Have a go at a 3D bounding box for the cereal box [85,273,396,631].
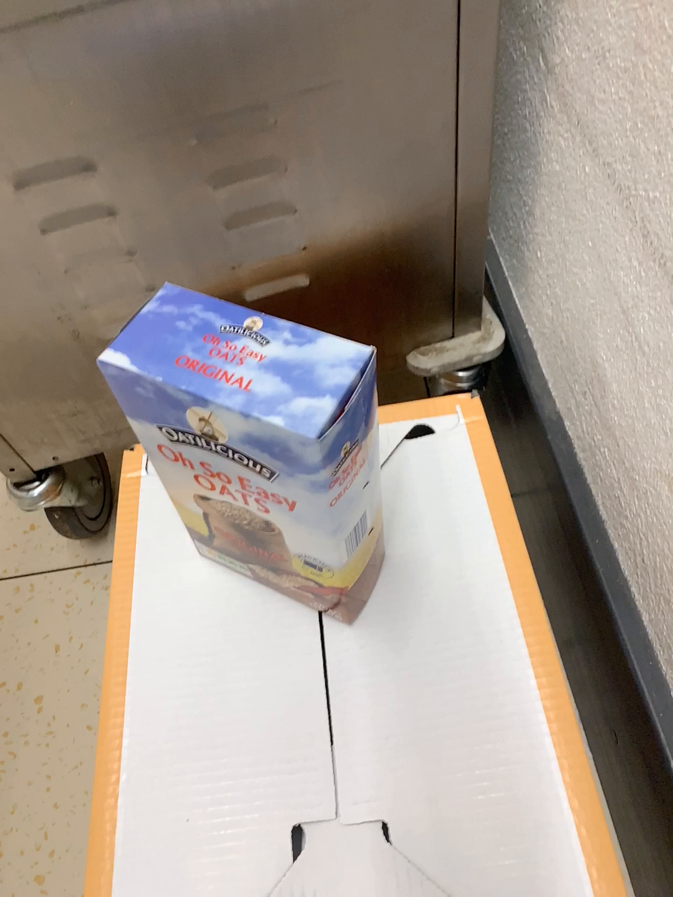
[{"bbox_3d":[-0.040,0.015,0.415,0.130,0.218,0.060,20,58,21],"label":"cereal box"}]
